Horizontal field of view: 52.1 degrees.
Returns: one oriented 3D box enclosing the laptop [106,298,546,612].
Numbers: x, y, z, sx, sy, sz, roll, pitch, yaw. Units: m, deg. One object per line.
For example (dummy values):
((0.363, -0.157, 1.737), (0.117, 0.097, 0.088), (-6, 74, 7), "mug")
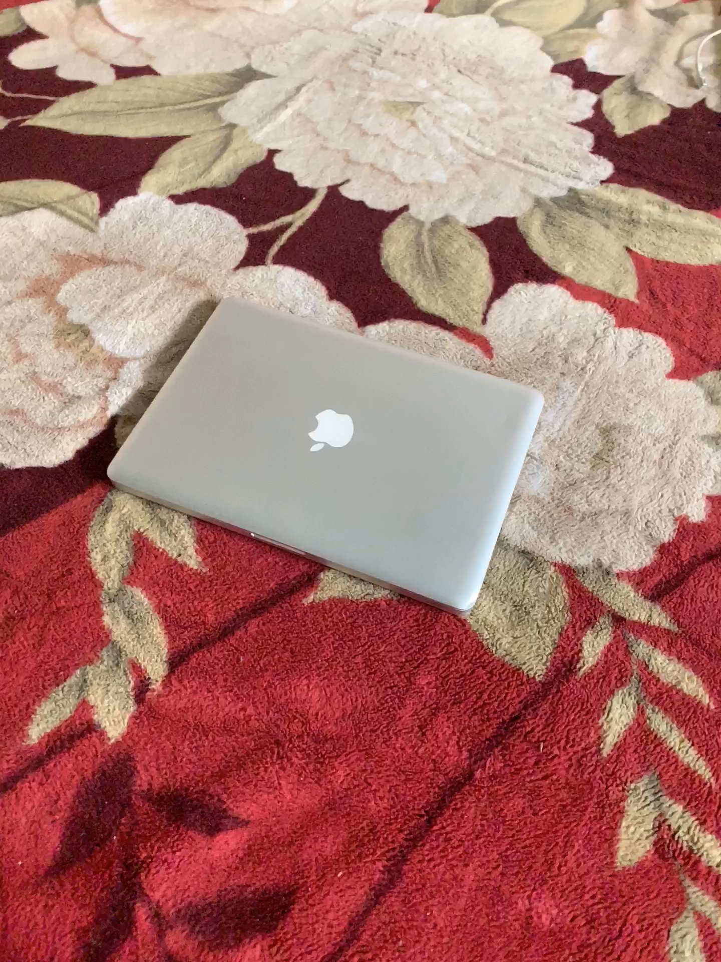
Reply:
((-0.023, -0.039, 0.617), (0.310, 0.001, 0.210), (19, 62, 11), "laptop")
